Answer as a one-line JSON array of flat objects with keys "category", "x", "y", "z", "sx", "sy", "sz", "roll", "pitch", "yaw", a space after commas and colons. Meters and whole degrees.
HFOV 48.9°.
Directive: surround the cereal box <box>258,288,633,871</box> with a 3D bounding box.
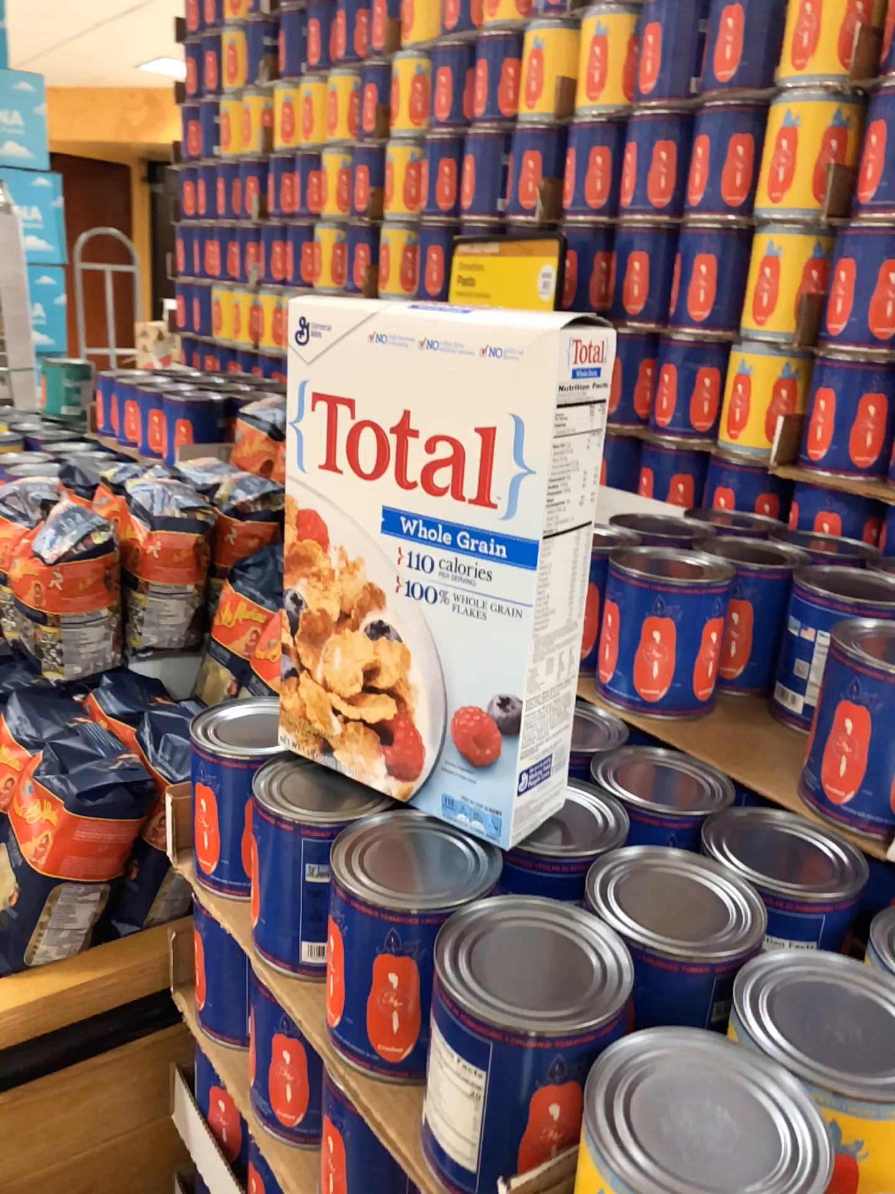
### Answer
[{"category": "cereal box", "x": -0.015, "y": -0.022, "z": 0.609, "sx": 0.210, "sy": 0.308, "sz": 0.070, "roll": 16, "pitch": 19, "yaw": 35}]
